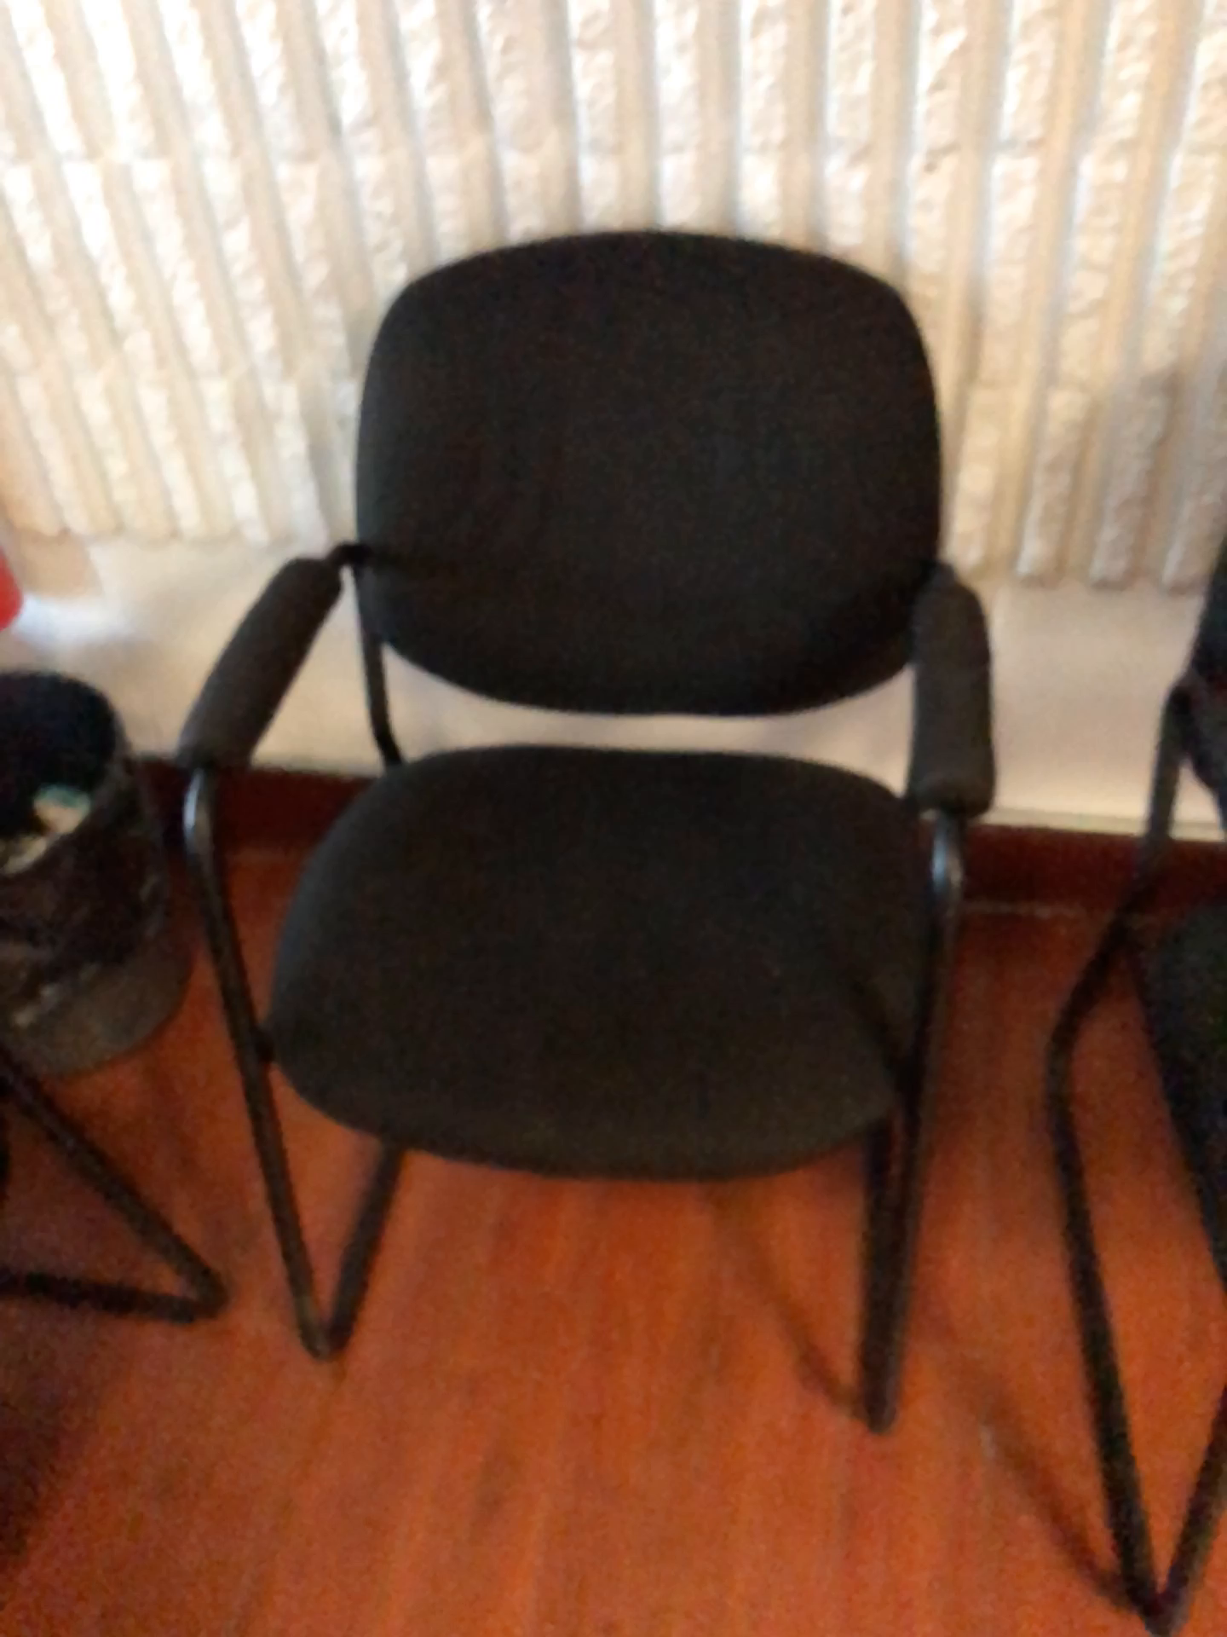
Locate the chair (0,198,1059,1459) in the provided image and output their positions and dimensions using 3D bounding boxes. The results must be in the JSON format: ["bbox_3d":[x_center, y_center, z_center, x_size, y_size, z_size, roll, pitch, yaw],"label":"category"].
[{"bbox_3d":[0.007,-0.007,1.248,0.590,0.795,0.775,3,44,9],"label":"chair"}]
